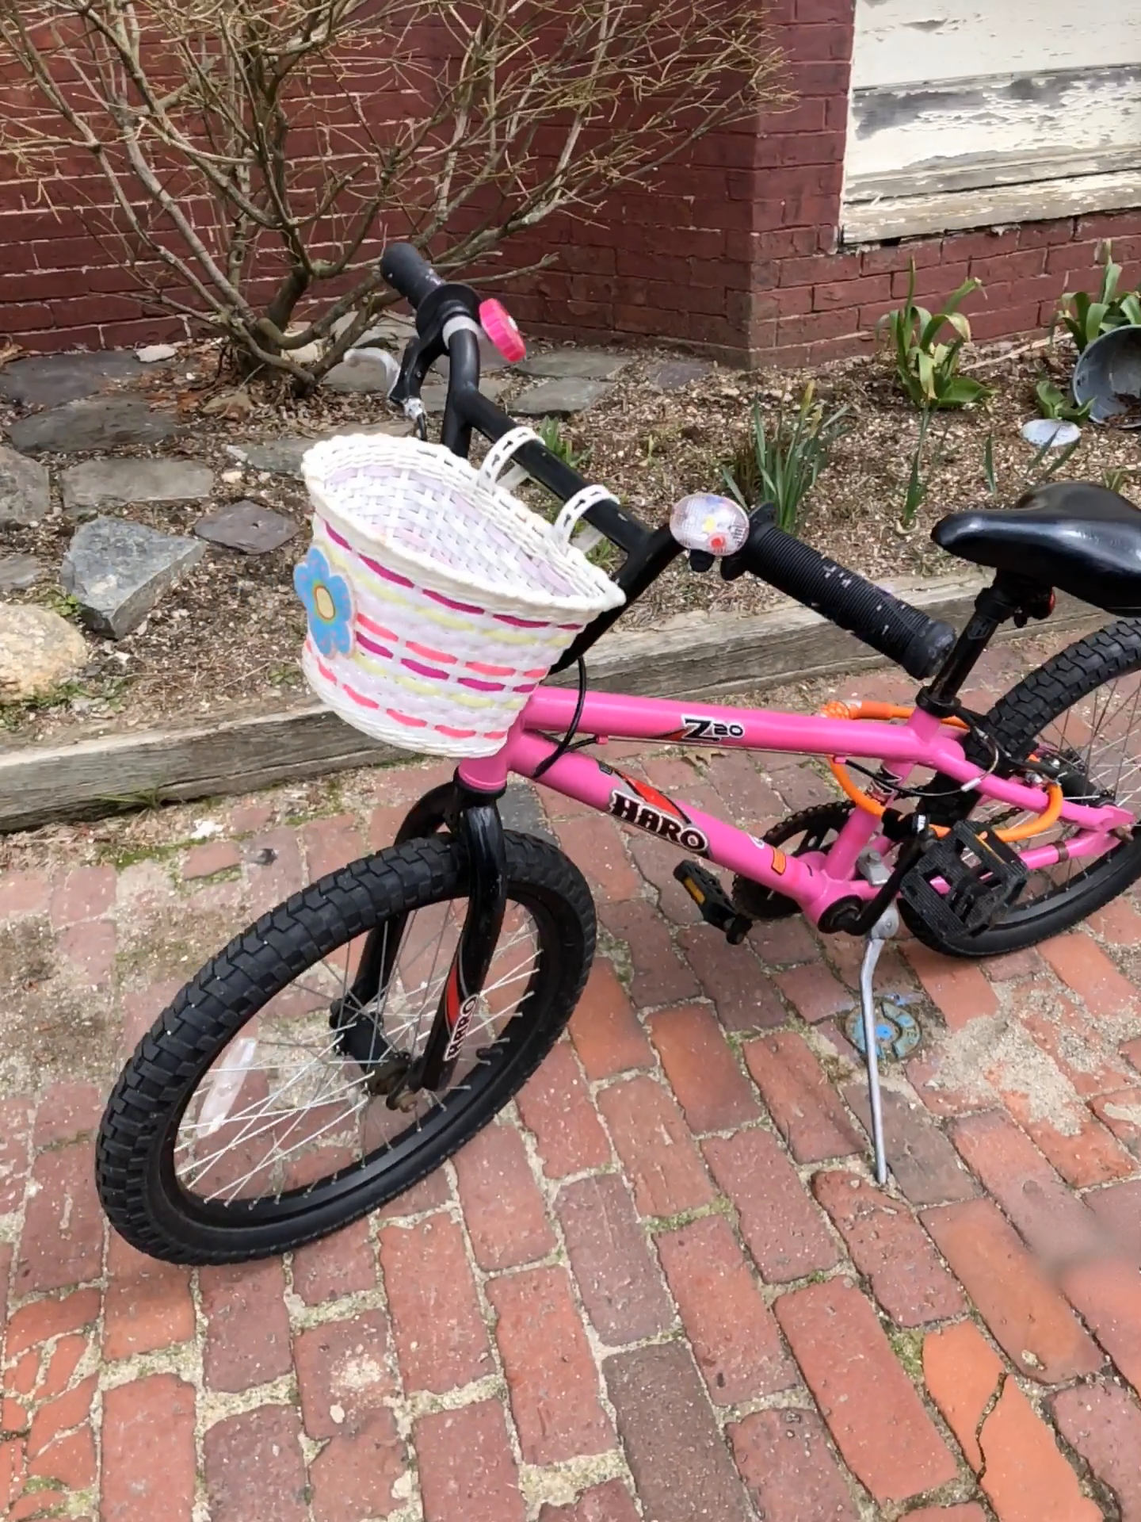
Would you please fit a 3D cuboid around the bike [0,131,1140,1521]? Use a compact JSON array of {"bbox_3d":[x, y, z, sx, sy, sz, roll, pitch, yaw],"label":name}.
[{"bbox_3d":[0.263,0.025,1.041,1.341,0.906,0.713,-16,36,-24],"label":"bike"}]
